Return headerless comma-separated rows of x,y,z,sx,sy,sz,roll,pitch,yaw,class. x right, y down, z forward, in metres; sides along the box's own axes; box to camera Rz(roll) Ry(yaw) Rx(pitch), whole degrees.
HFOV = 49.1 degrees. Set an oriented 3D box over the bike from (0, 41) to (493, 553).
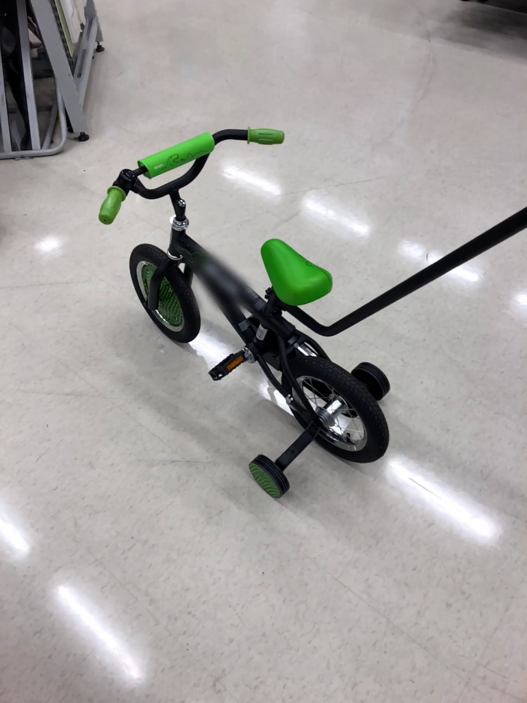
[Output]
-0.066,-0.144,1.281,0.849,0.600,0.491,36,61,25,bike
